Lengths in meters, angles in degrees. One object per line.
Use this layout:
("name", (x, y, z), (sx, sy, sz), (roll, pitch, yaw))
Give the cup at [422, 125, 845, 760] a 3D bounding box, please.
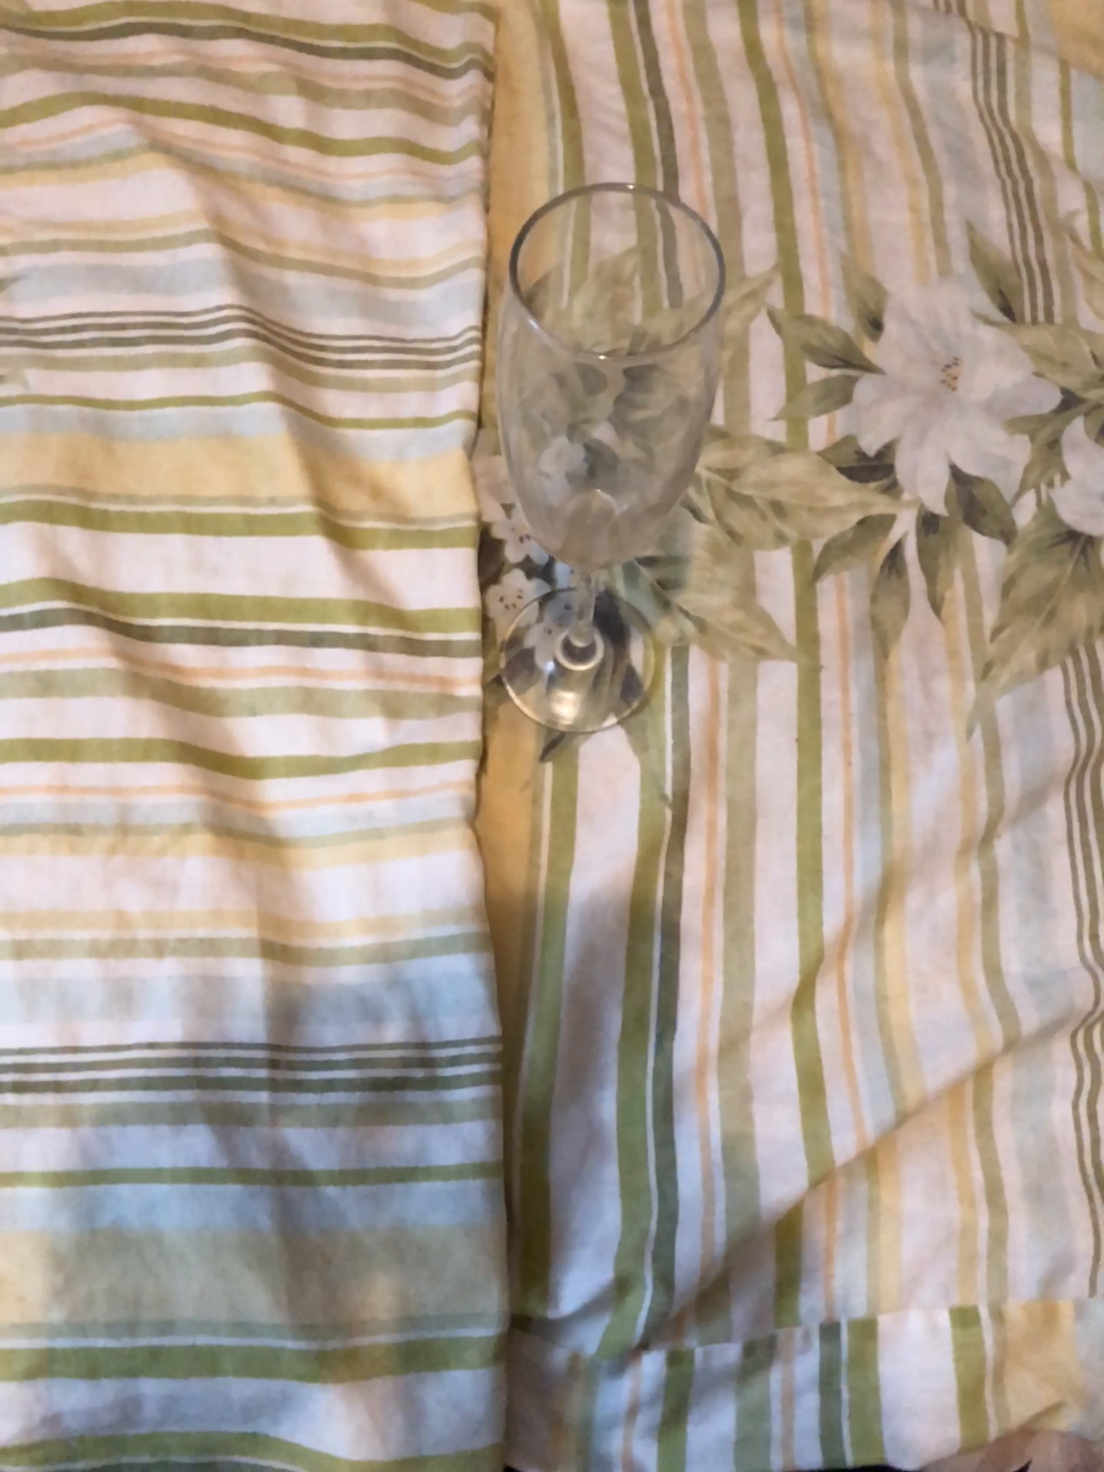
("cup", (0.015, -0.070, 0.388), (0.082, 0.218, 0.071), (18, 71, 3))
